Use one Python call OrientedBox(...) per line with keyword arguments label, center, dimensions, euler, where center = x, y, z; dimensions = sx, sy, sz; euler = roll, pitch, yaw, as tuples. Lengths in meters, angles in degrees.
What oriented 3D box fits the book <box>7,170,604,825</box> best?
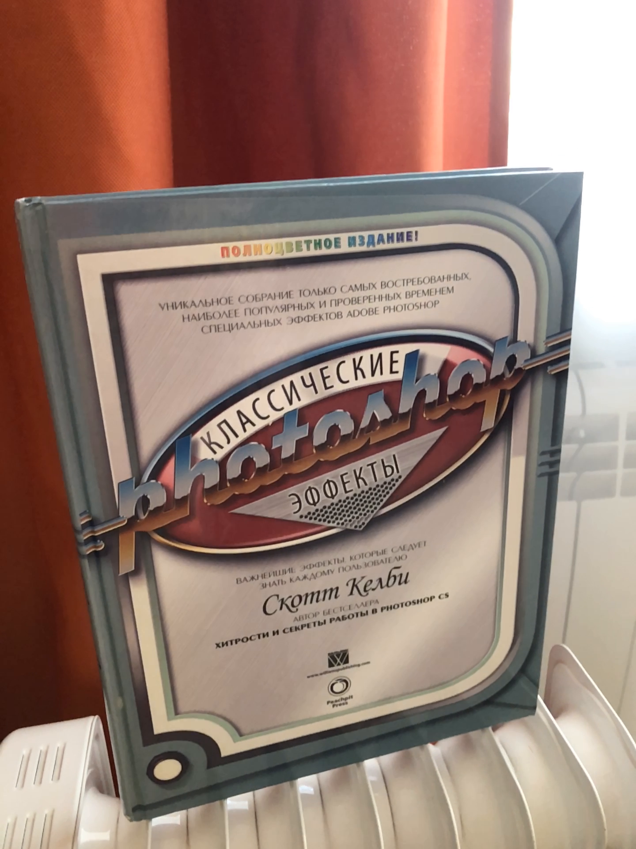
OrientedBox(label="book", center=(0.007, 0.035, 0.323), dimensions=(0.225, 0.276, 0.040), euler=(-8, 22, -15))
